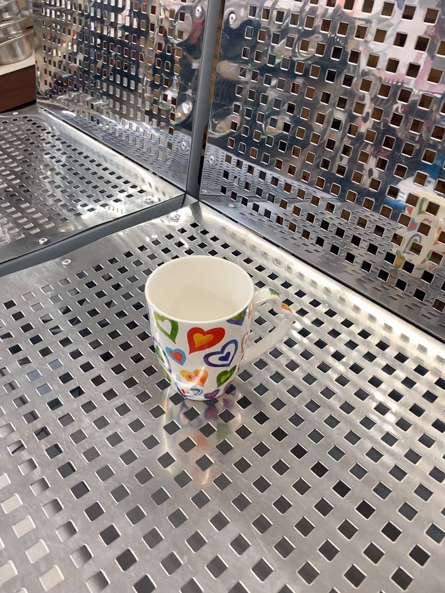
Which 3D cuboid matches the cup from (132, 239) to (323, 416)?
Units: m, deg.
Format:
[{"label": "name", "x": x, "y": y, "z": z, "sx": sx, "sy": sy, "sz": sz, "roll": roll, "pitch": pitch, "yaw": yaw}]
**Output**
[{"label": "cup", "x": -0.001, "y": 0.023, "z": 0.349, "sx": 0.120, "sy": 0.100, "sz": 0.070, "roll": -7, "pitch": 43, "yaw": -10}]
